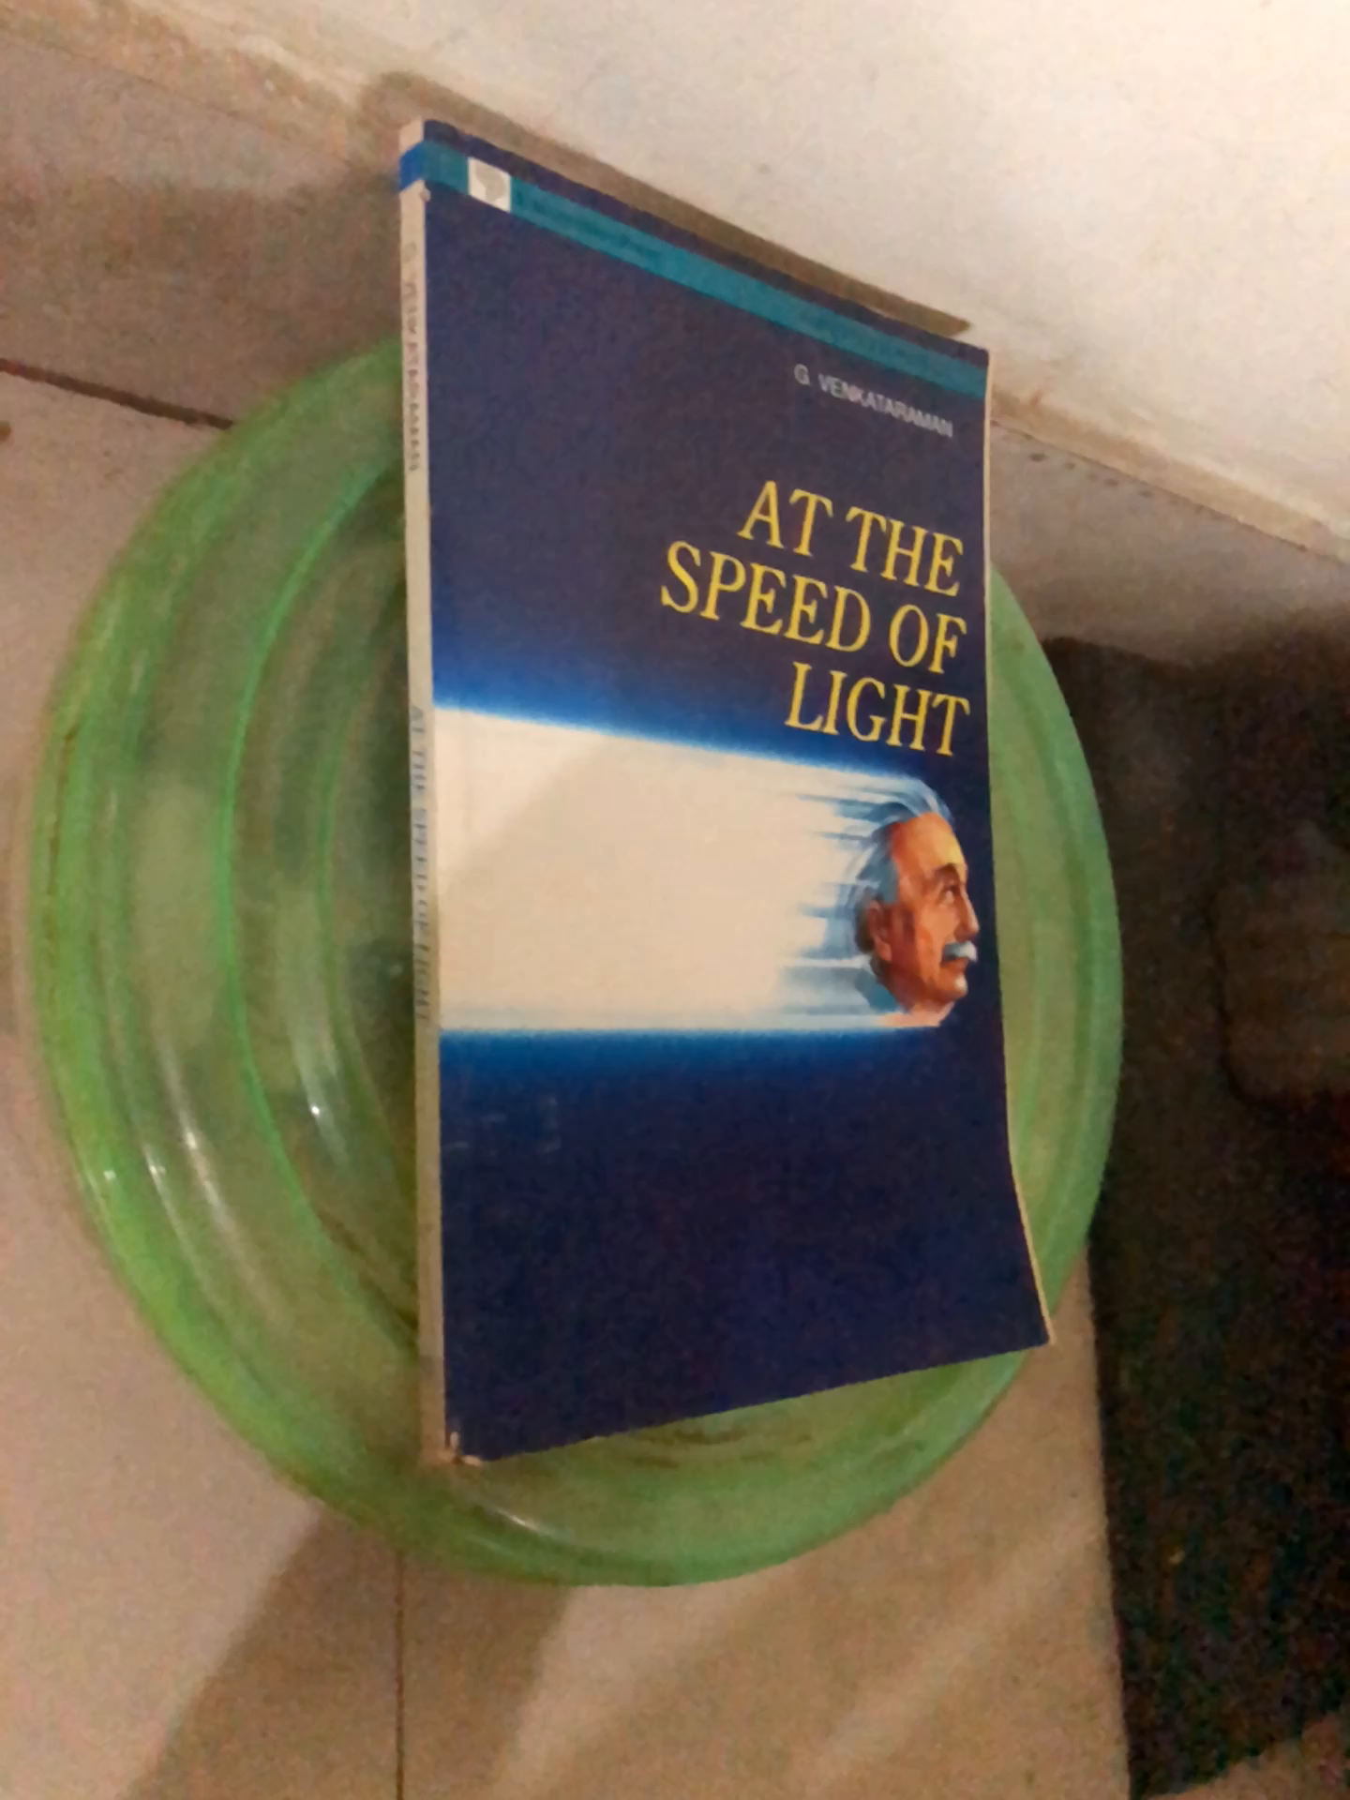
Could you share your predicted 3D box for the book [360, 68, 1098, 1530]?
[{"bbox_3d":[0.016,-0.018,0.286,0.151,0.020,0.230,4,79,-39],"label":"book"}]
